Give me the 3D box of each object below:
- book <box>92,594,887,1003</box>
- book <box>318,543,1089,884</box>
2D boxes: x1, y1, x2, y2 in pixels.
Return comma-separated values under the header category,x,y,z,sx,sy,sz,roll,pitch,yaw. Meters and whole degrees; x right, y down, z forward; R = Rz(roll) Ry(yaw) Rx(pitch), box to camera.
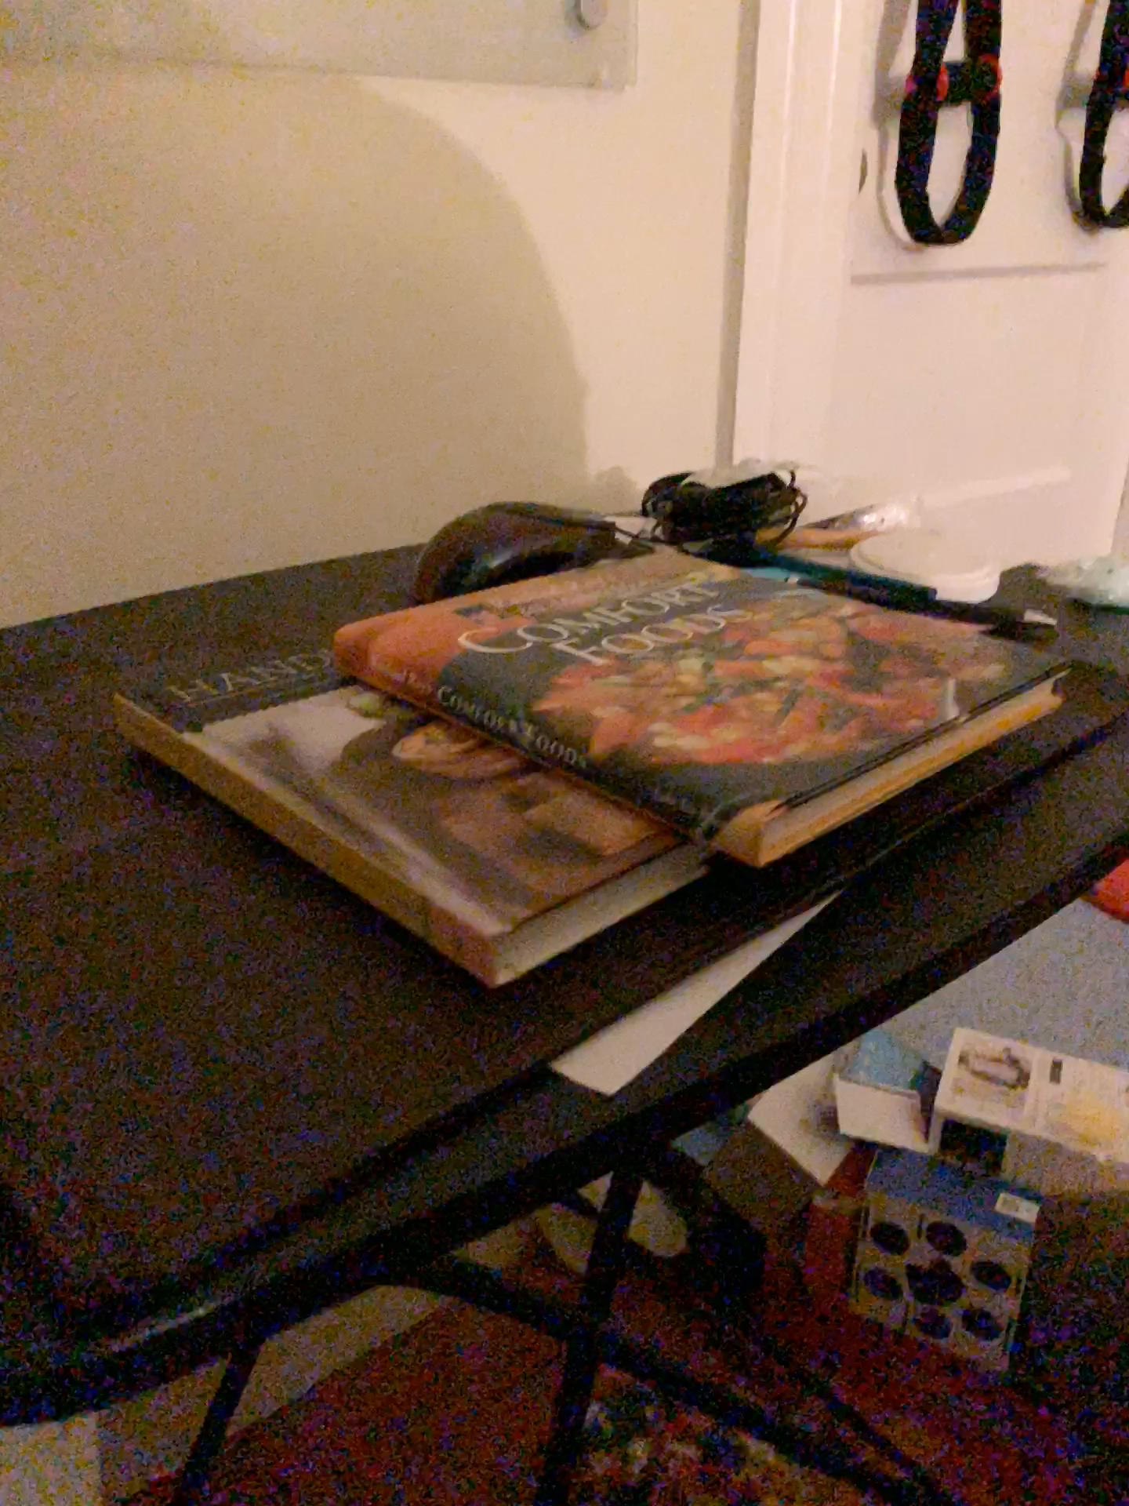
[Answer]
category,x,y,z,sx,sy,sz,roll,pitch,yaw
book,-0.031,-0.006,0.414,0.180,0.020,0.221,-21,32,-40
book,0.051,-0.034,0.441,0.200,0.020,0.211,-21,33,-40
